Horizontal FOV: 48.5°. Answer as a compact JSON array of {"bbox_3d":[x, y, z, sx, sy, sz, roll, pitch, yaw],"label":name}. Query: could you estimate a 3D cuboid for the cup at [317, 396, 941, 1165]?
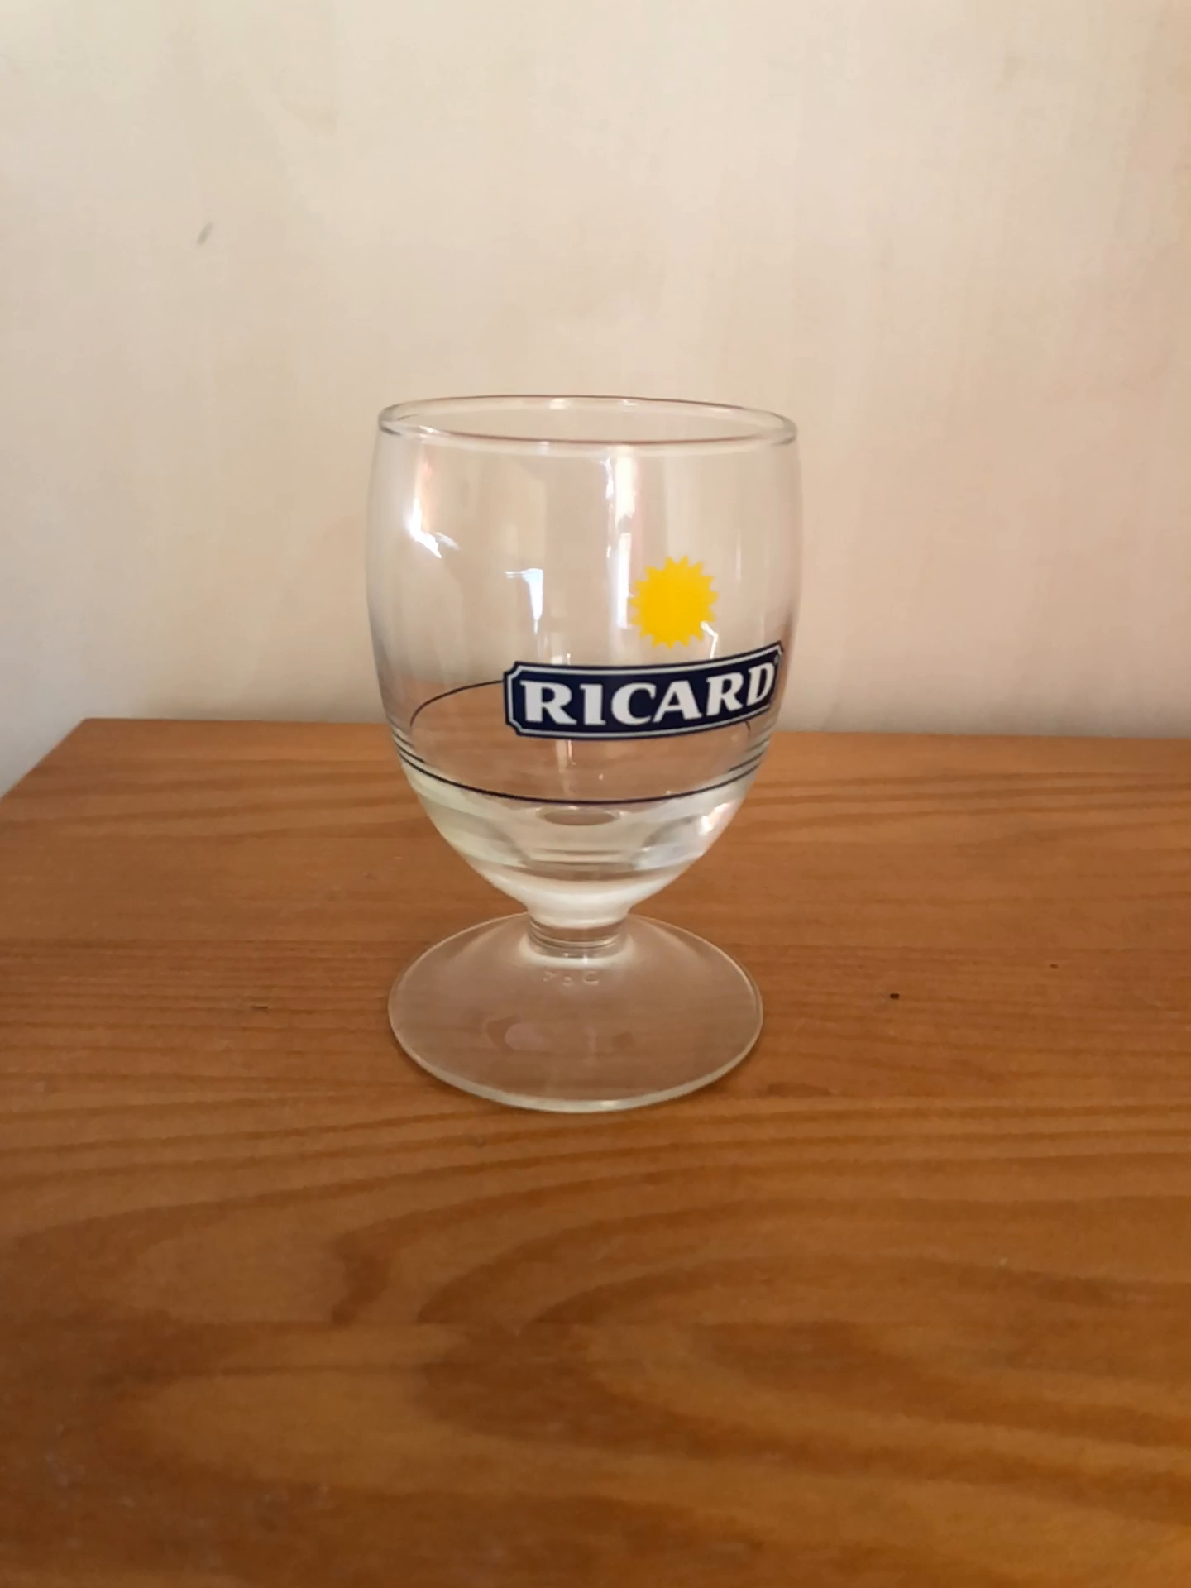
[{"bbox_3d":[-0.001,-0.009,0.211,0.069,0.098,0.069,2,21,-1],"label":"cup"}]
